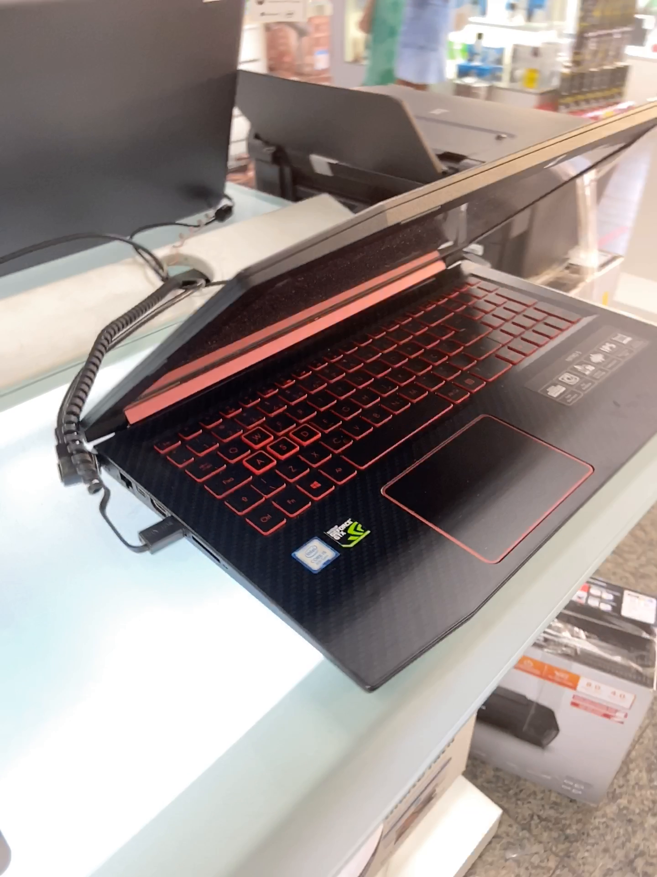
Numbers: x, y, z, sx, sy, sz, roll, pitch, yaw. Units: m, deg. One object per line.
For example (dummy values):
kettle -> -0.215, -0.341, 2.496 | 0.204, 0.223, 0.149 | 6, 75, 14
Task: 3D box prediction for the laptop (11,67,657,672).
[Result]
laptop -> 0.065, -0.097, 0.416 | 0.234, 0.163, 0.381 | 30, 47, 35
